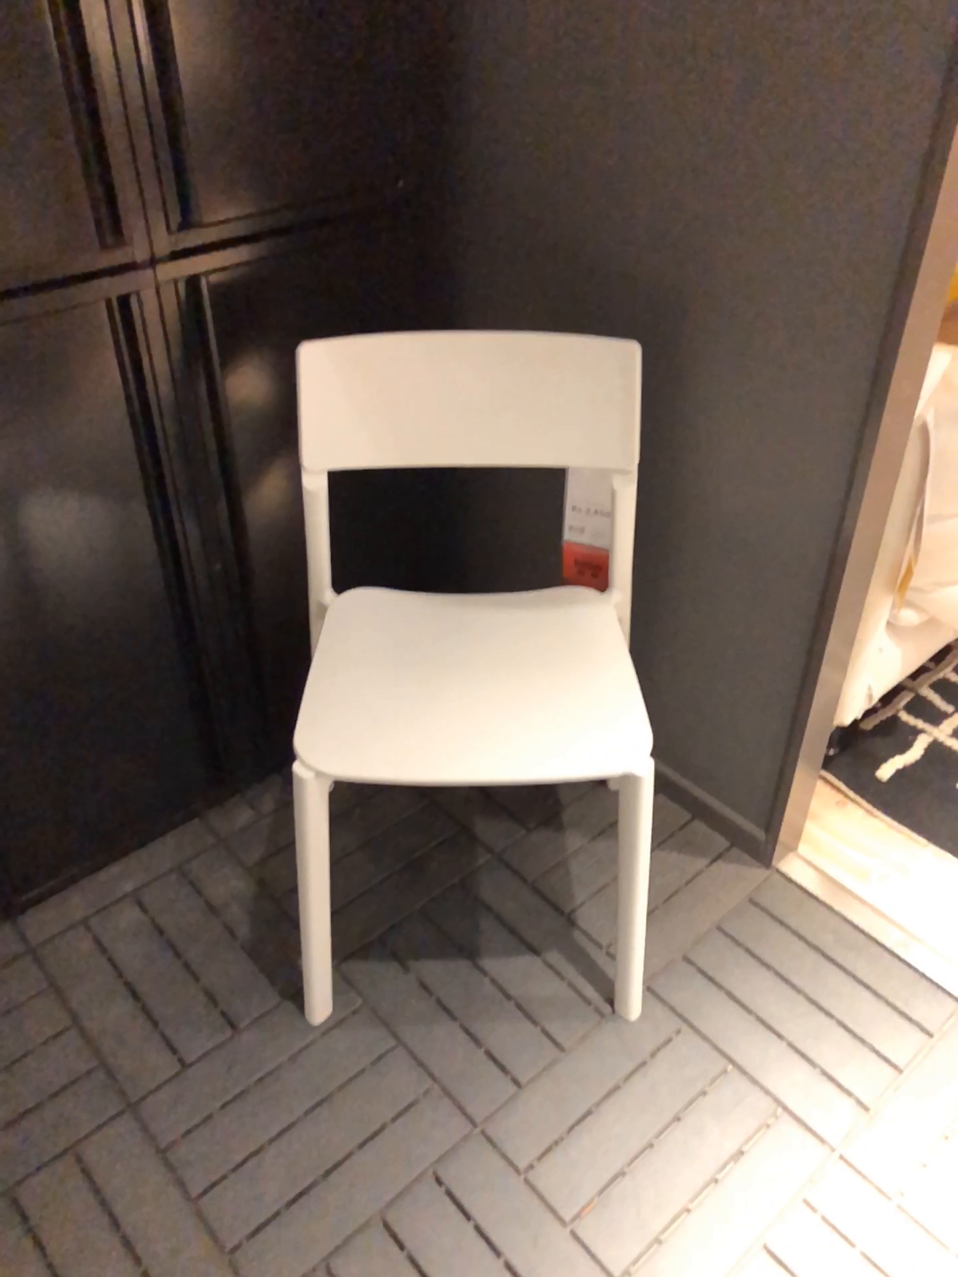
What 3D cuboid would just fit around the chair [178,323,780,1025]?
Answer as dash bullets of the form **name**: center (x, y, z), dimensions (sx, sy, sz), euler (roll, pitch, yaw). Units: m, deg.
- **chair**: center (-0.004, 0.048, 1.270), dimensions (0.500, 0.705, 0.473), euler (0, 37, -1)
